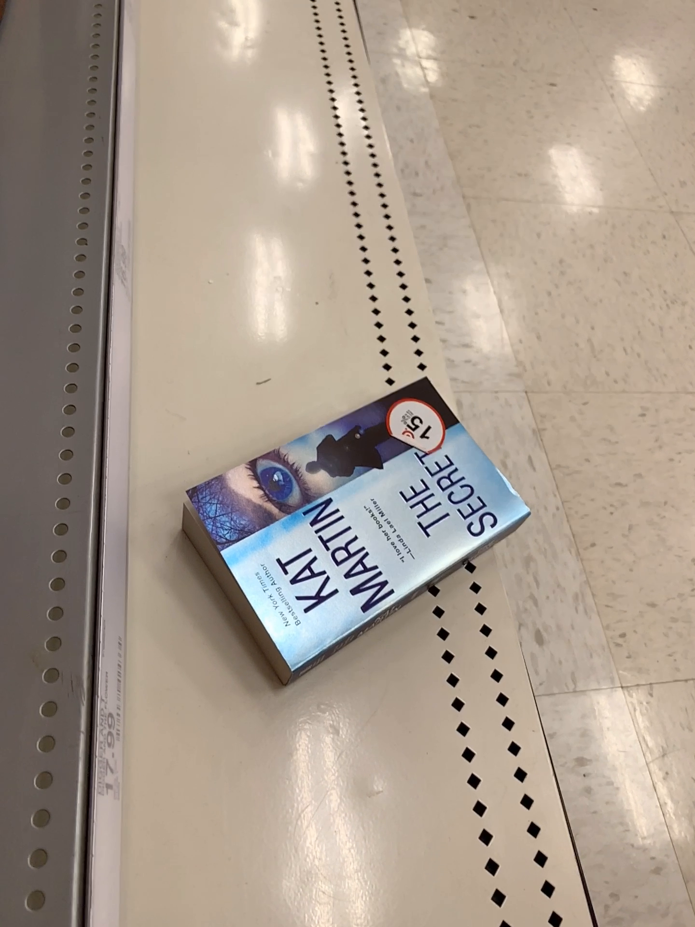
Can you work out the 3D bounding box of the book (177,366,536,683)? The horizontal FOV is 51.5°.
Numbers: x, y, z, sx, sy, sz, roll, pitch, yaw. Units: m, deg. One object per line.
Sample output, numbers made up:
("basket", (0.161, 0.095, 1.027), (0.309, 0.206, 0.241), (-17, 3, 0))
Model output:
("book", (0.007, 0.026, 0.398), (0.164, 0.040, 0.105), (-28, 73, -27))
